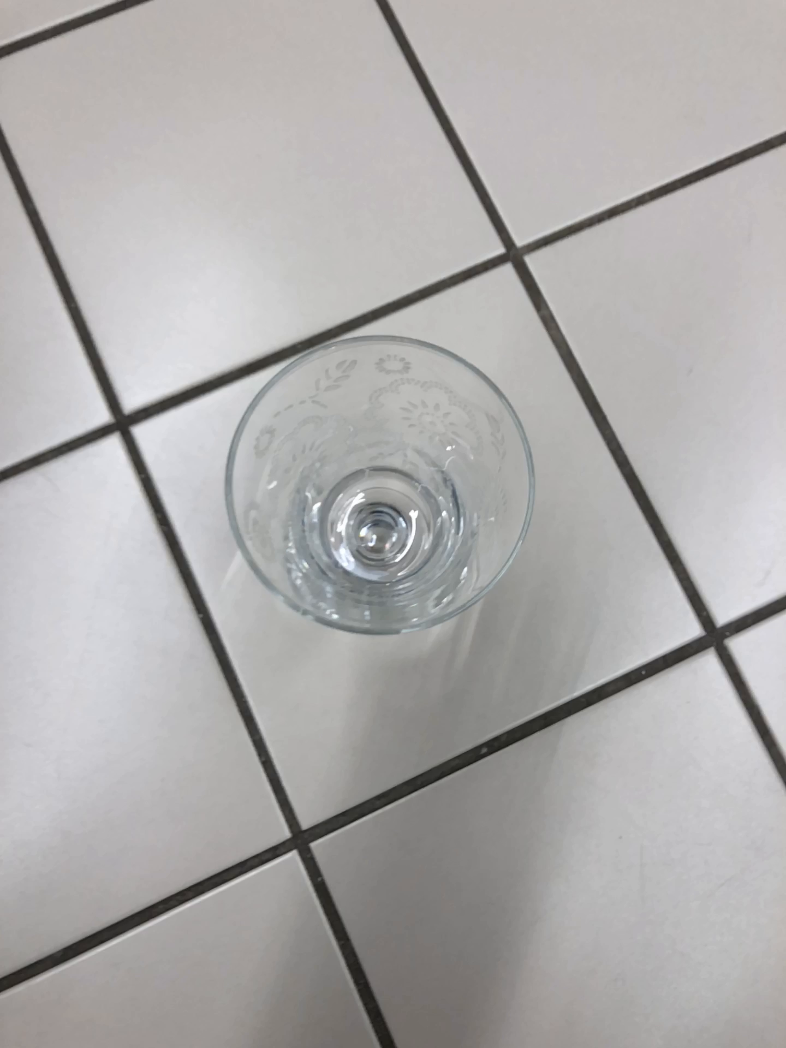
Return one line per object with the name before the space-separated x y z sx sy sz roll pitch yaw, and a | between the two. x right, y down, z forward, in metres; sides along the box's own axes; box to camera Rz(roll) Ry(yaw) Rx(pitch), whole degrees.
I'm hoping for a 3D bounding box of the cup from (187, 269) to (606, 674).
cup | -0.001 -0.005 0.306 0.095 0.139 0.094 0 80 -1
